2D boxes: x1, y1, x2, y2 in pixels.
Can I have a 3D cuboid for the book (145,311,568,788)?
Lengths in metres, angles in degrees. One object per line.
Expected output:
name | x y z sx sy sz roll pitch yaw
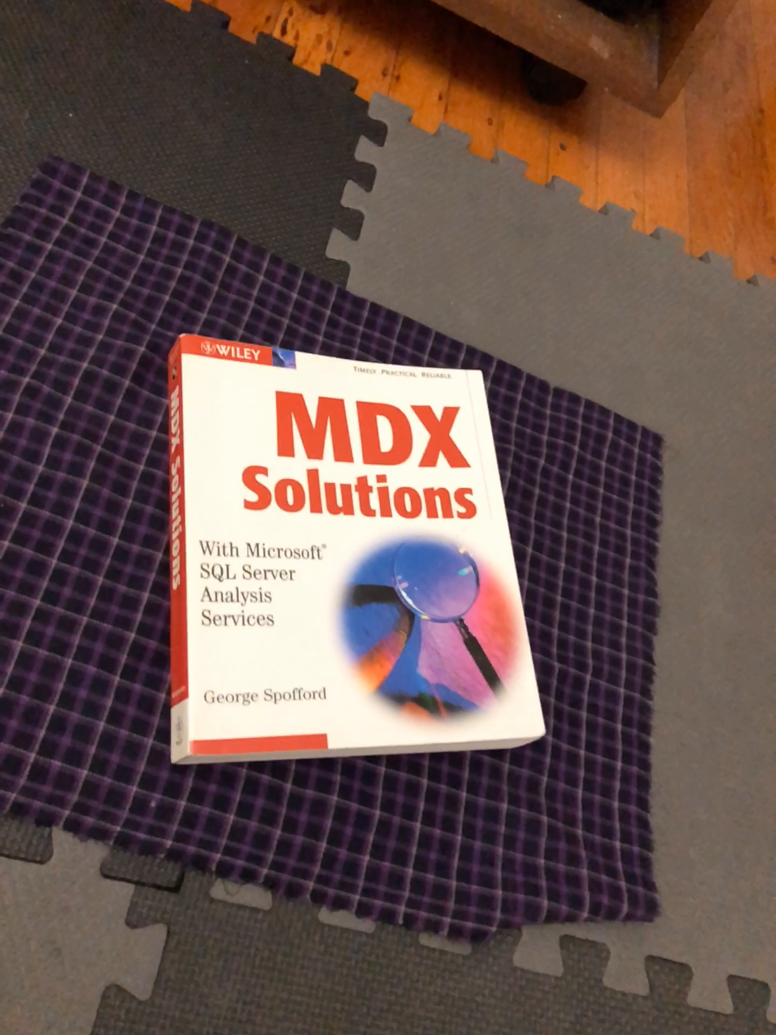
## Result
book | -0.027 0.013 0.505 0.220 0.050 0.261 3 63 -23
